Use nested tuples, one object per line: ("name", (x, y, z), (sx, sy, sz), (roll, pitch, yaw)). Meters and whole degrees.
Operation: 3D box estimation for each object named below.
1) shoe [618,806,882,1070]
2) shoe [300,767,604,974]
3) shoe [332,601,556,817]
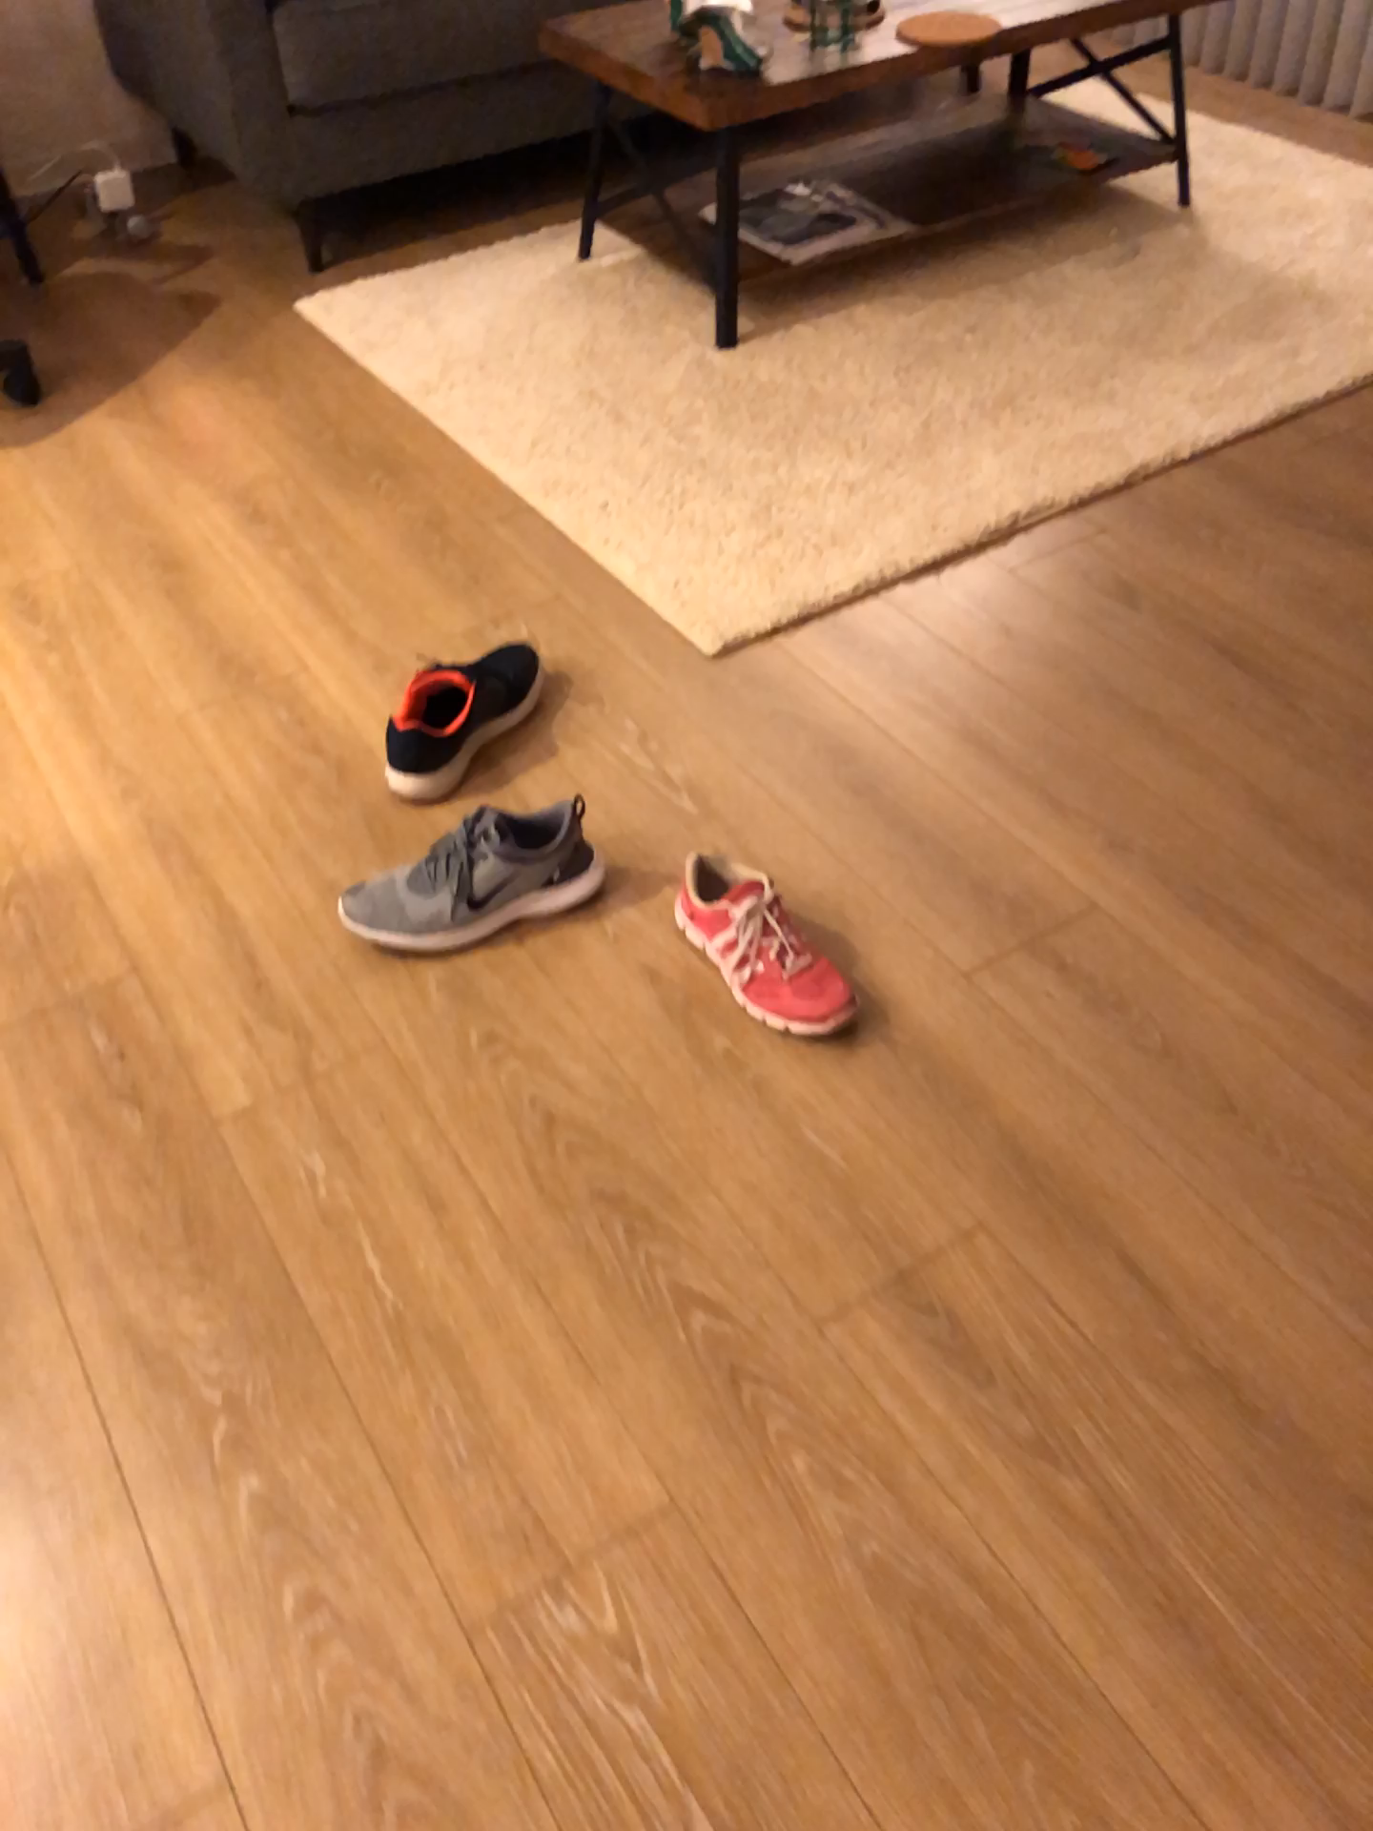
("shoe", (0.063, 0.017, 1.612), (0.140, 0.089, 0.281), (-26, 48, -22))
("shoe", (-0.260, -0.052, 1.684), (0.306, 0.109, 0.131), (-13, 44, -10))
("shoe", (-0.302, -0.270, 1.931), (0.130, 0.099, 0.301), (17, 47, 20))
